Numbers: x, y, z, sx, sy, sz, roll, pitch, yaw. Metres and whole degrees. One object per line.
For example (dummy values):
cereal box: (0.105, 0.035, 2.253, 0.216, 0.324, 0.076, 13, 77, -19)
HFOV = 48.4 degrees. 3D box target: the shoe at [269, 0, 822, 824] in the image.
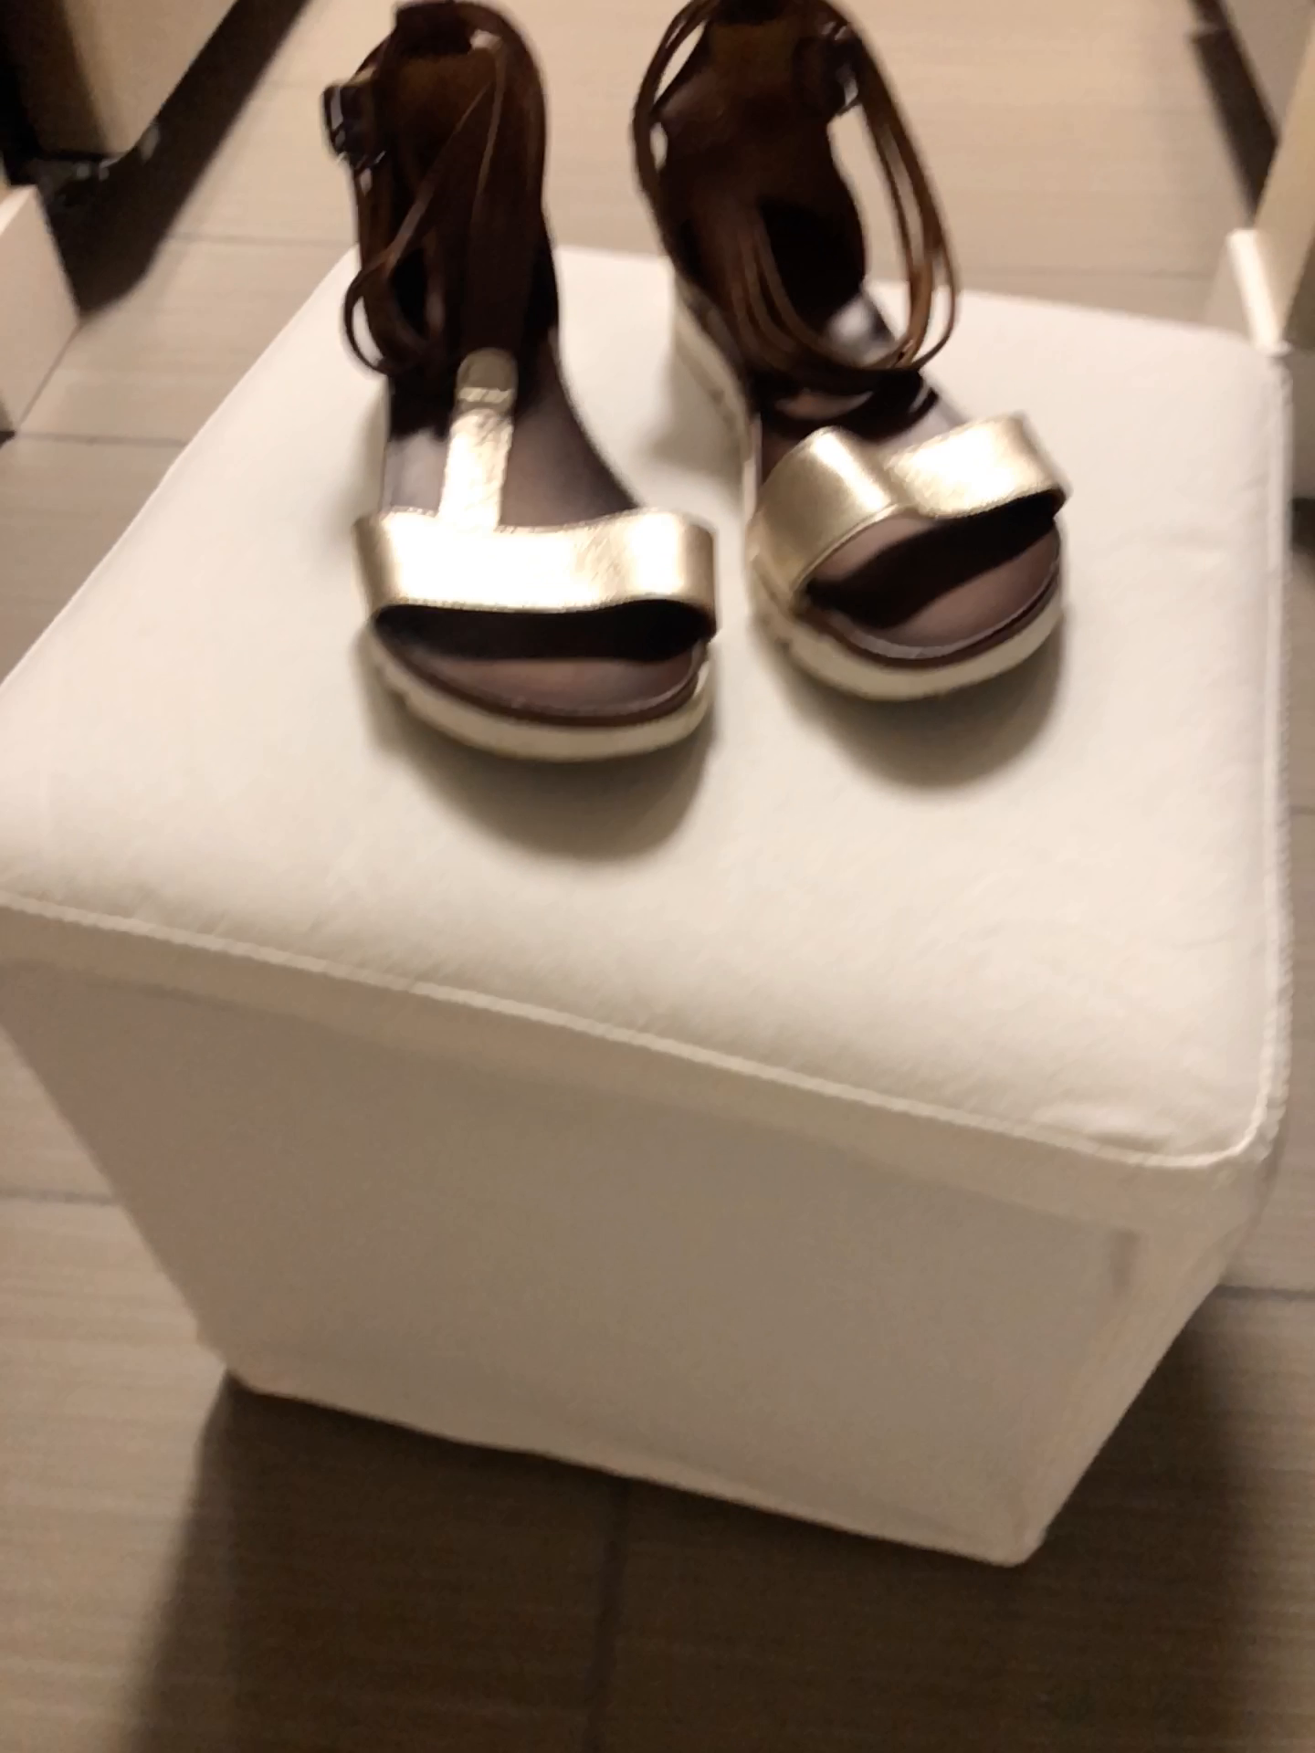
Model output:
shoe: (-0.043, -0.149, 0.415, 0.110, 0.090, 0.261, -9, 52, -6)

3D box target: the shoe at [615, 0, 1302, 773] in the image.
shoe: (0.065, -0.163, 0.431, 0.110, 0.090, 0.261, -9, 52, -6)
